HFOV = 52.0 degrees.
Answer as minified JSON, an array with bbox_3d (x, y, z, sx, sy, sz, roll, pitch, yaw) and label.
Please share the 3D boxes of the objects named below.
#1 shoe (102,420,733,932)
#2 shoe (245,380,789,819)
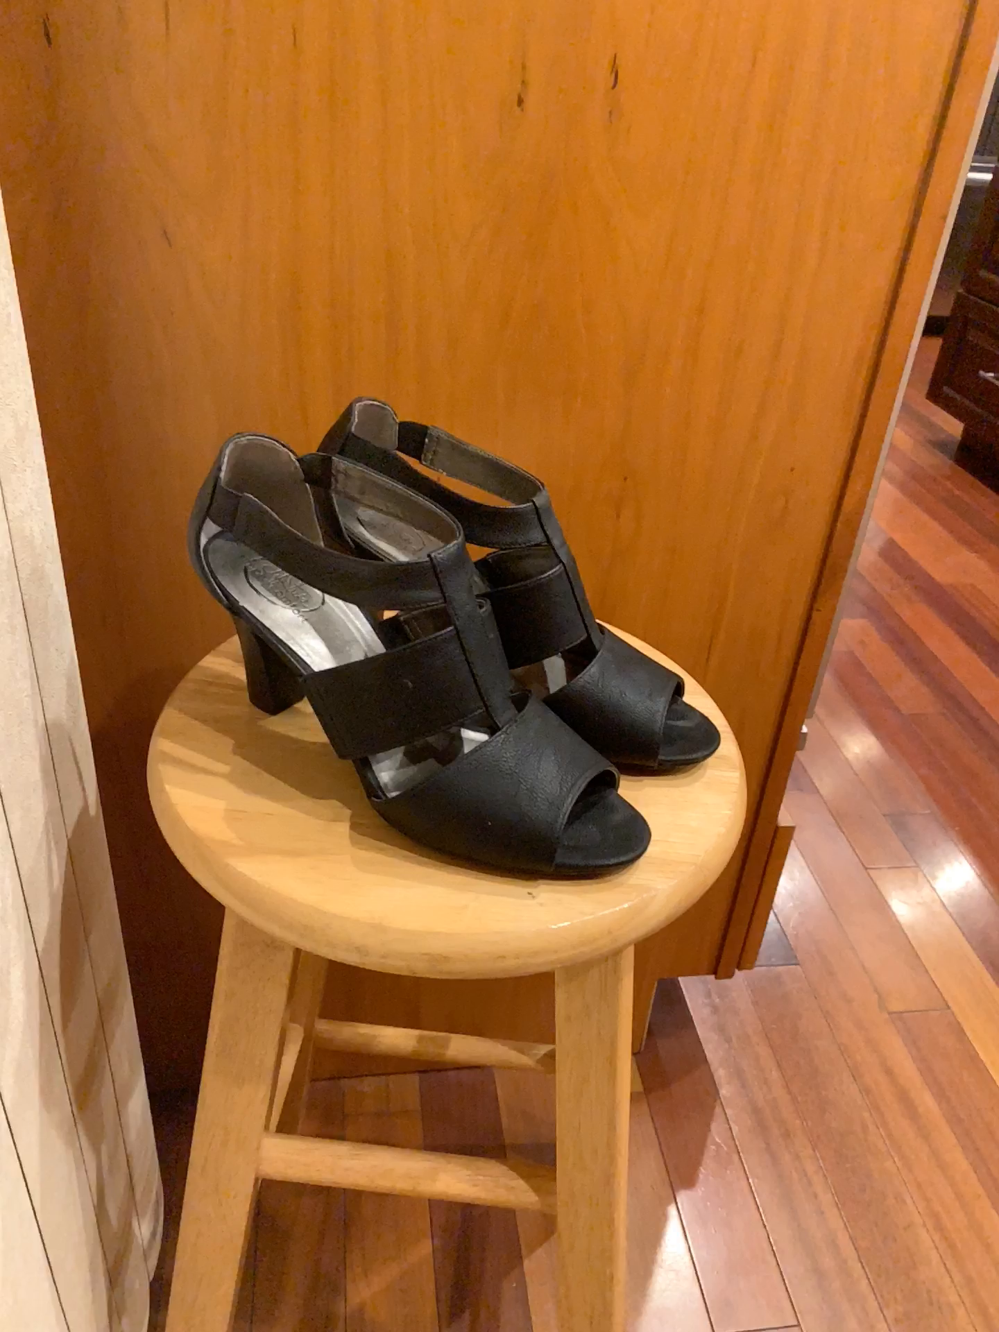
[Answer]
[{"bbox_3d":[-0.041,-0.007,0.446,0.244,0.125,0.090,20,35,22],"label":"shoe"},{"bbox_3d":[0.003,-0.043,0.510,0.234,0.130,0.100,18,34,20],"label":"shoe"}]
